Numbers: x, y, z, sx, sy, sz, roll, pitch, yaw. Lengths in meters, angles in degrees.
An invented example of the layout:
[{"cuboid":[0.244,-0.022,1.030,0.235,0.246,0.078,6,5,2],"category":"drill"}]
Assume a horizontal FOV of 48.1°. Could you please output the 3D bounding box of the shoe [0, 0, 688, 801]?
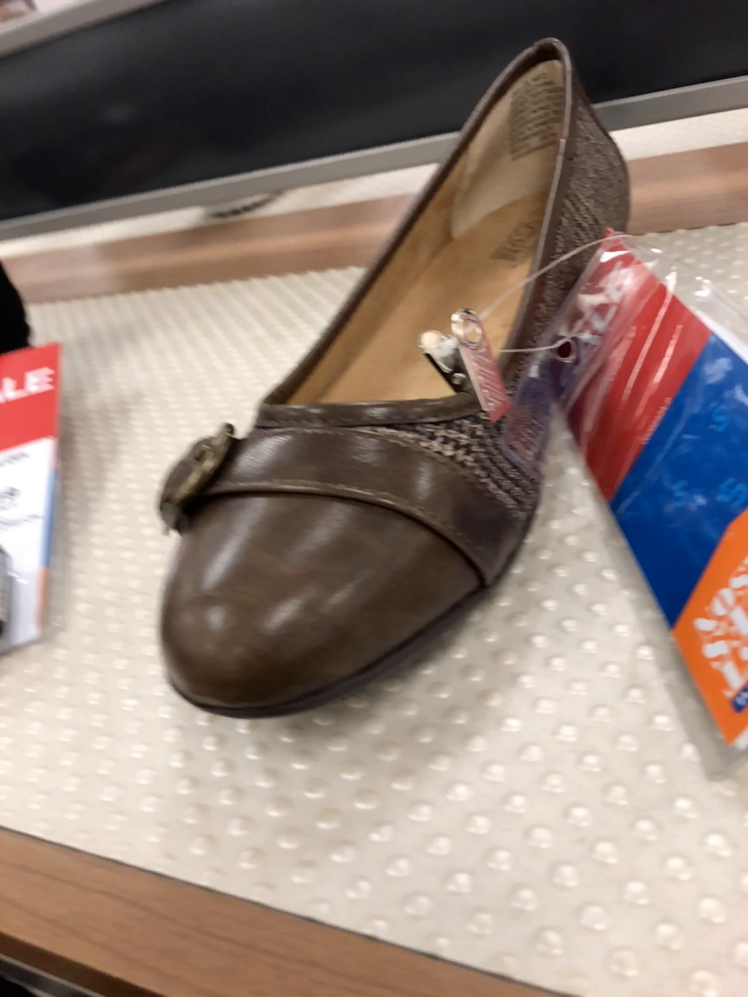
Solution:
[{"cuboid":[0.020,-0.063,0.250,0.092,0.080,0.279,3,40,30],"category":"shoe"}]
